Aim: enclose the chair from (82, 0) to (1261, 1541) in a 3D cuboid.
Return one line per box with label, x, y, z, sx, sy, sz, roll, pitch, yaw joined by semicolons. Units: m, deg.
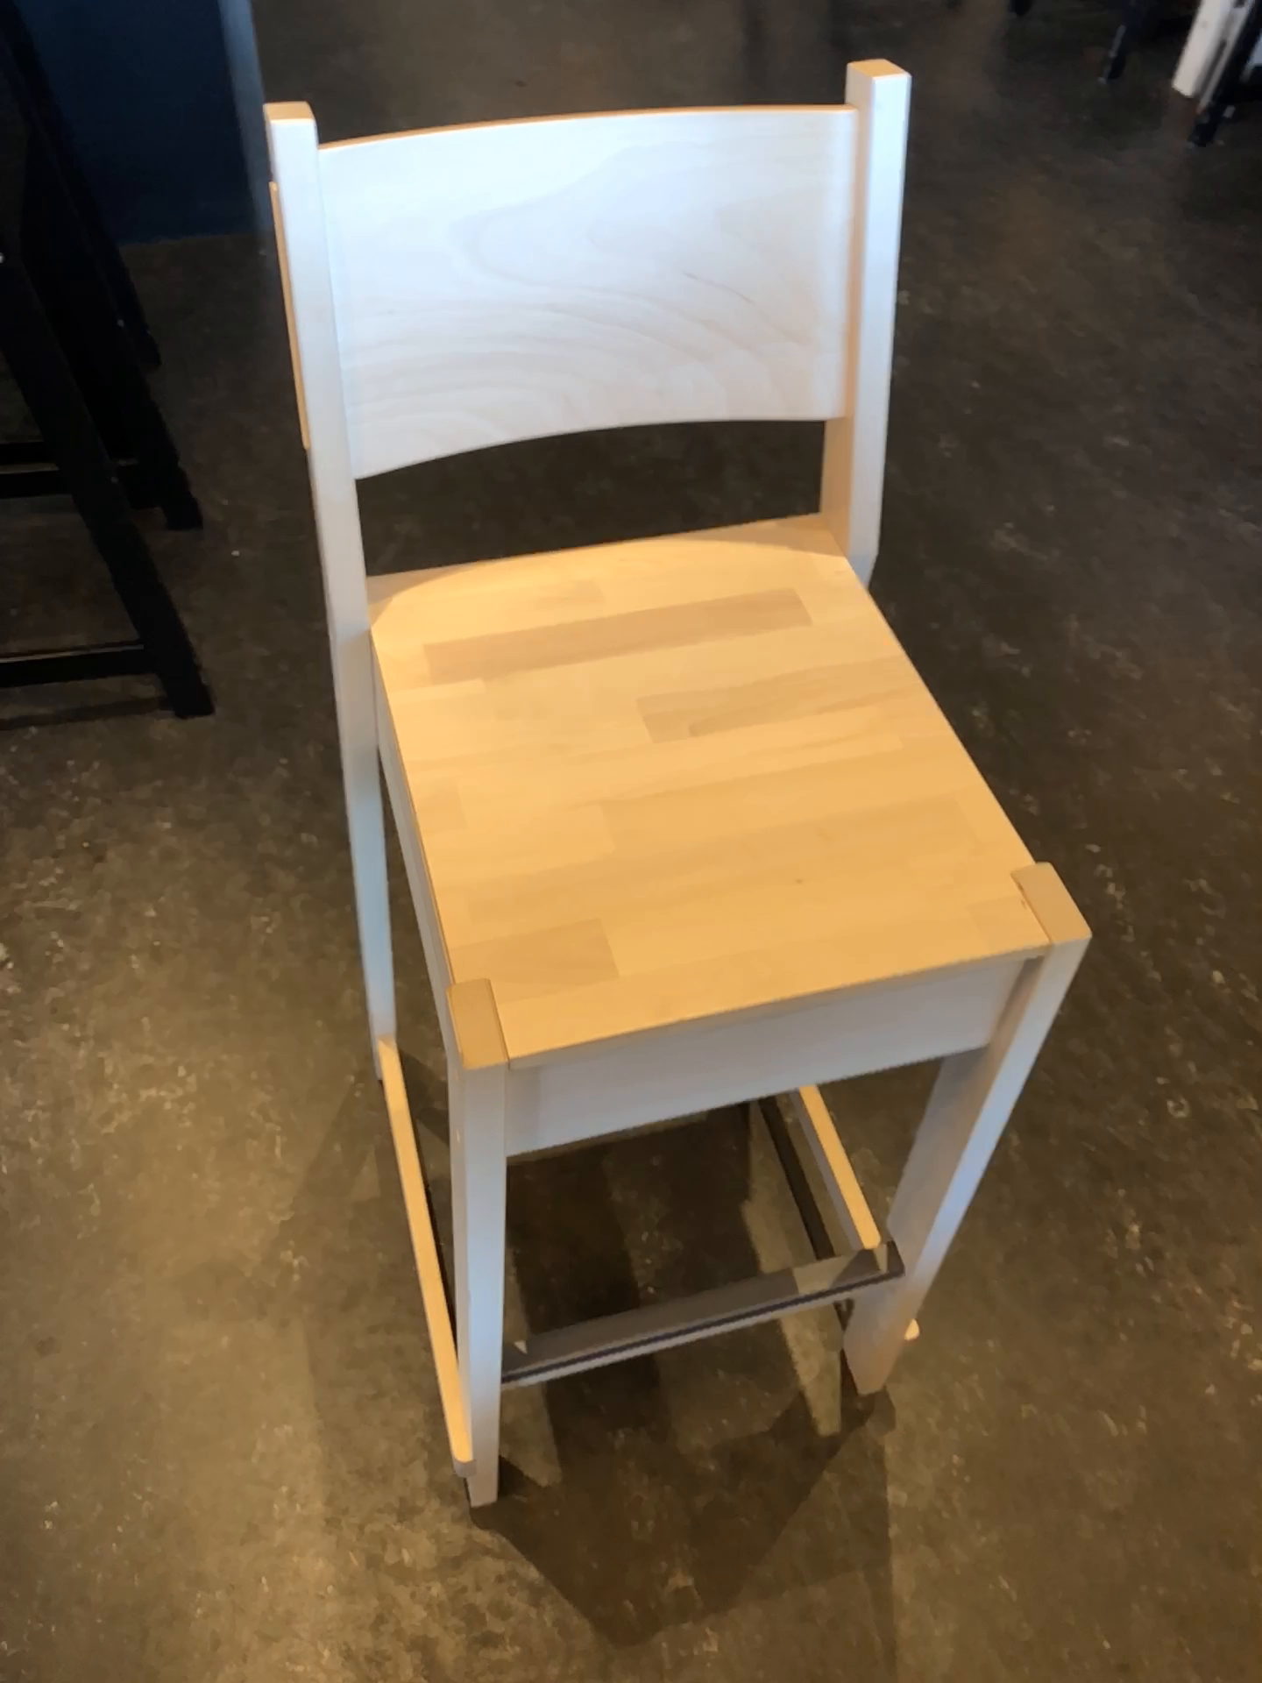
chair;-0.012;0.016;0.985;0.460;0.977;0.542;-11;51;-12
